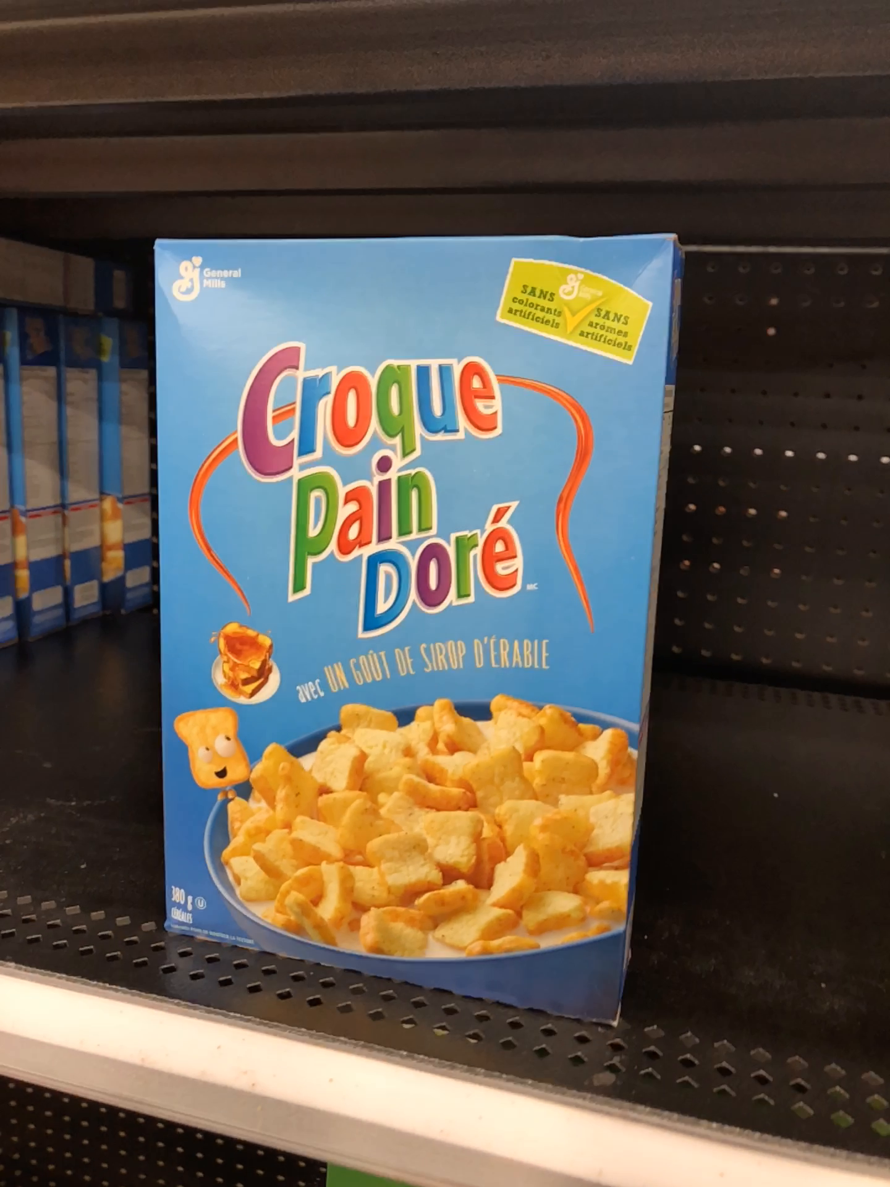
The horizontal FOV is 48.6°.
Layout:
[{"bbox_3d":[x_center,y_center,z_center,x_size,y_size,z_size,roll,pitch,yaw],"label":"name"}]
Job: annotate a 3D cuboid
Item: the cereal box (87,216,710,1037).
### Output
[{"bbox_3d":[-0.022,0.006,0.365,0.210,0.269,0.050,5,11,15],"label":"cereal box"}]
